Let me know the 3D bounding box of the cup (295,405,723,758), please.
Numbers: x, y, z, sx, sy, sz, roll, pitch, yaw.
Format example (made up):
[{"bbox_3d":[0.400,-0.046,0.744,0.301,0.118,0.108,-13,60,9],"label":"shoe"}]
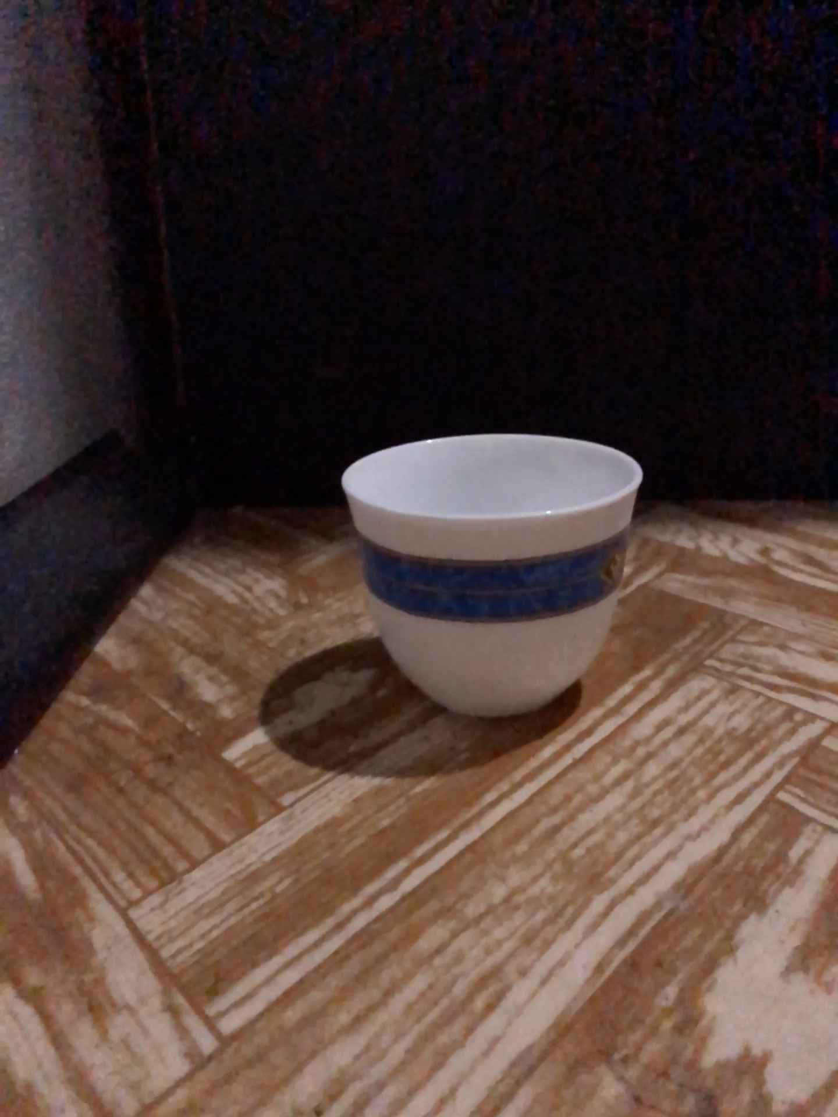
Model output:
[{"bbox_3d":[0.033,-0.004,0.287,0.087,0.062,0.111,10,23,29],"label":"cup"}]
